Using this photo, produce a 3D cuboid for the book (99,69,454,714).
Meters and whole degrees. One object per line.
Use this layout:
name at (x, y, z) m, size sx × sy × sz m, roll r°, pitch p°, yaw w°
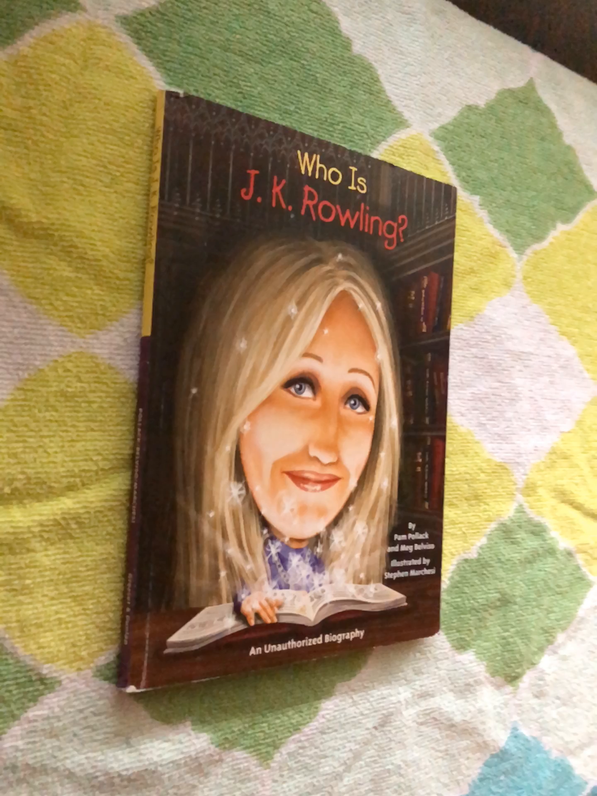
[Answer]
book at (0.002, 0.000, 0.230) m, size 0.126 × 0.012 × 0.187 m, roll 6°, pitch 85°, yaw -34°
